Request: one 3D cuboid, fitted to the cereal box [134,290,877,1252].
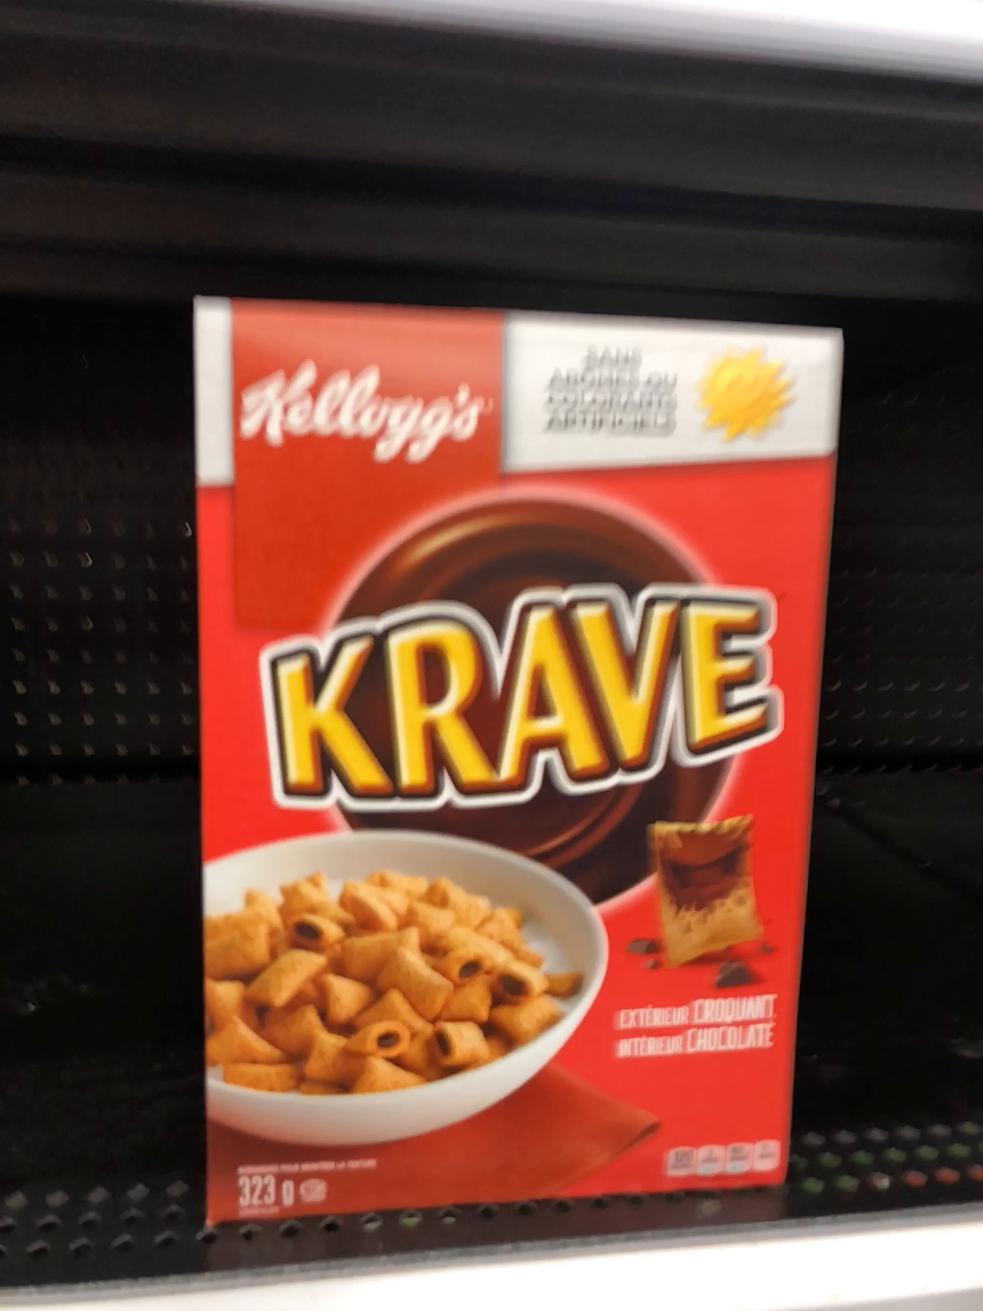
[{"bbox_3d":[0.002,0.038,0.347,0.210,0.279,0.050,0,8,-8],"label":"cereal box"}]
